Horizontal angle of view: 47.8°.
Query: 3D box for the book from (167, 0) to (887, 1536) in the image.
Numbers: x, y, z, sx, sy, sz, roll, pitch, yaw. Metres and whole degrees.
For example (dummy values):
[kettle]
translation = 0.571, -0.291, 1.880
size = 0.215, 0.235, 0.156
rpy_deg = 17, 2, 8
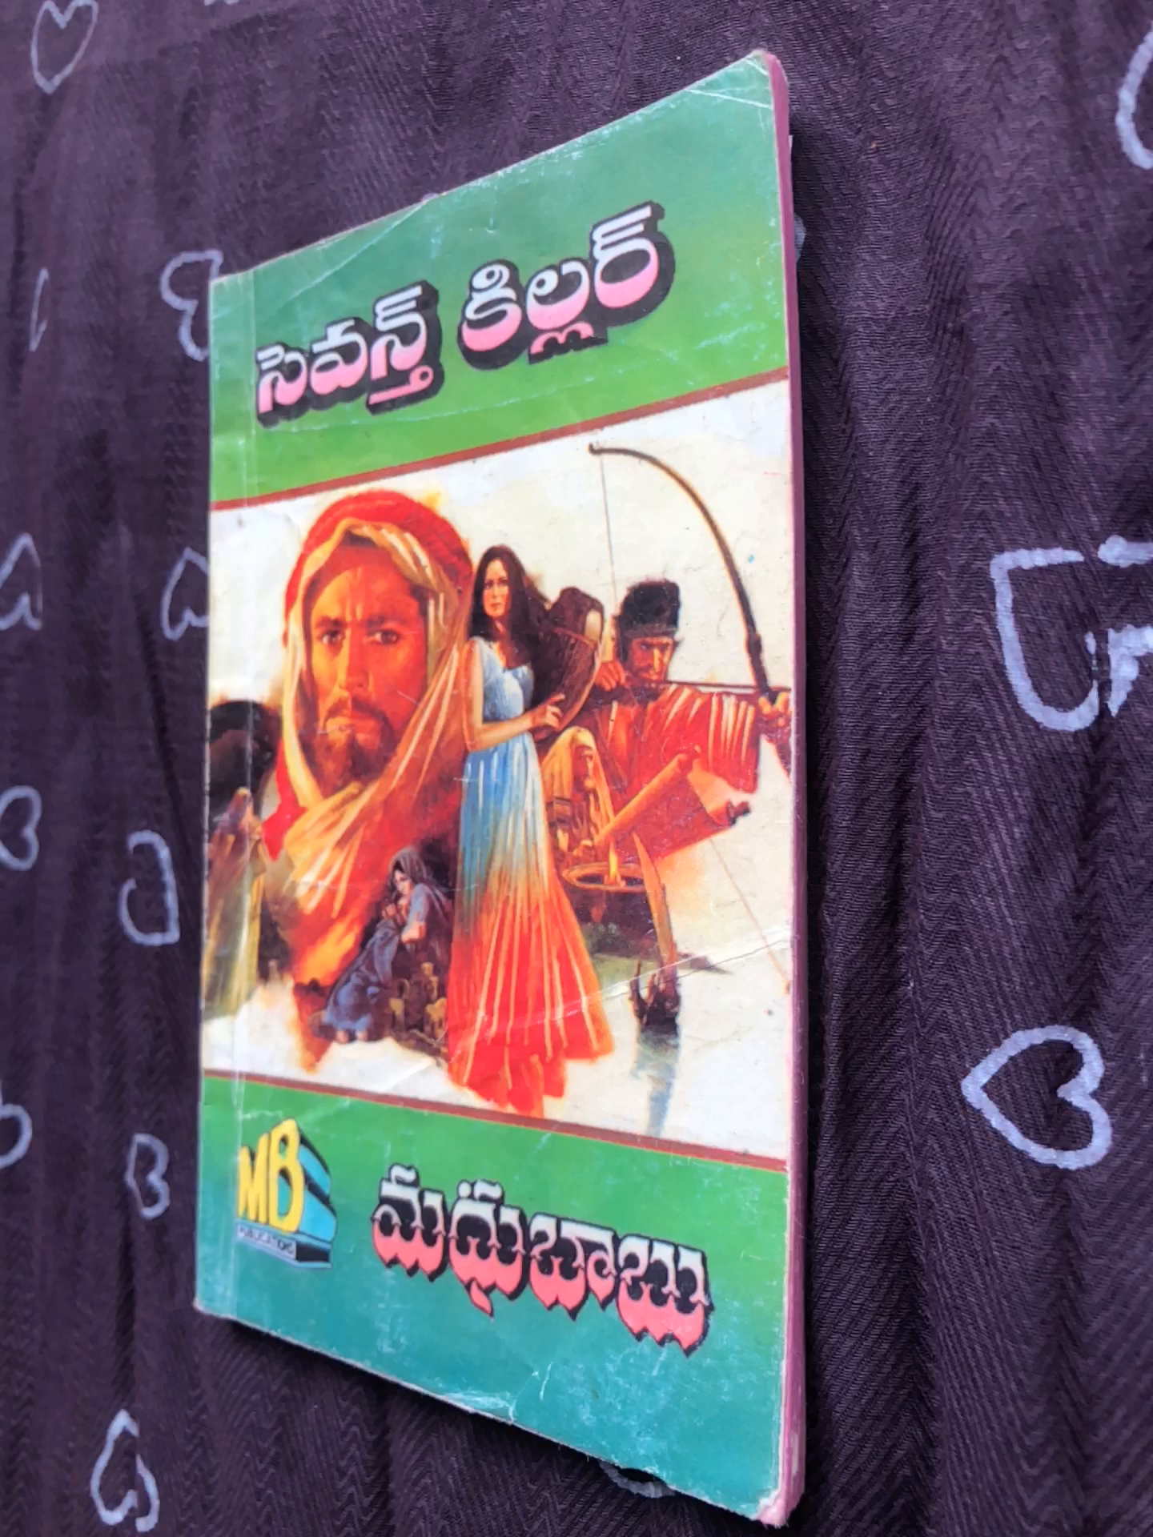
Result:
[book]
translation = -0.012, 0.001, 0.156
size = 0.100, 0.010, 0.150
rpy_deg = -1, 87, 36
